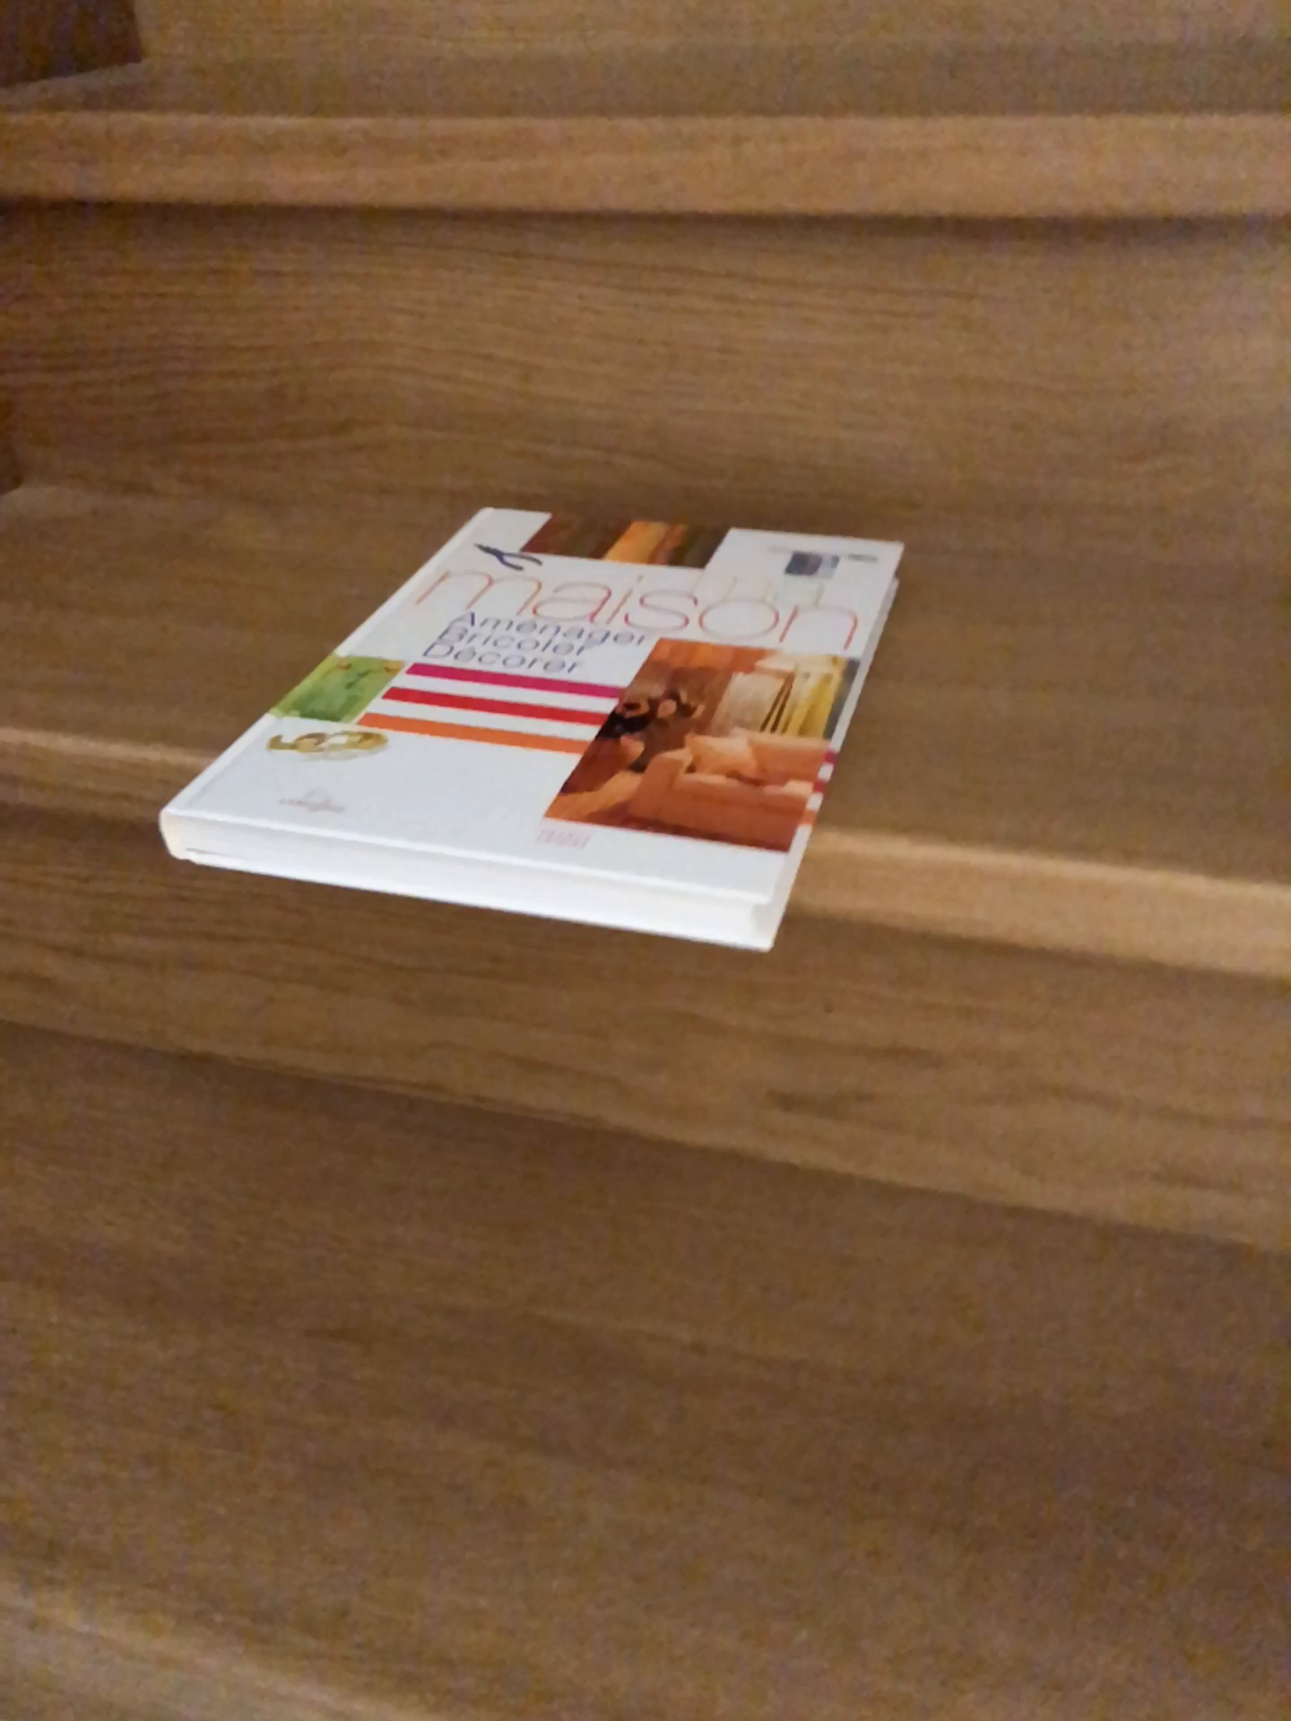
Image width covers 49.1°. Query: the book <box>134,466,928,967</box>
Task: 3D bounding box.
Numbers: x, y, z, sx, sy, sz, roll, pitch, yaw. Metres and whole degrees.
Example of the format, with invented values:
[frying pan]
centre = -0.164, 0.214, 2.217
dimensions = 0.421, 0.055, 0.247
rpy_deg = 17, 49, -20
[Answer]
[book]
centre = -0.016, -0.081, 0.550
dimensions = 0.210, 0.030, 0.312
rpy_deg = 8, 36, 15
